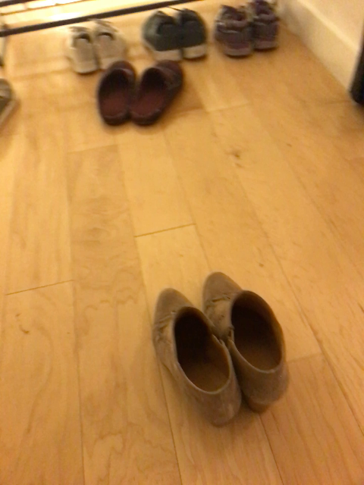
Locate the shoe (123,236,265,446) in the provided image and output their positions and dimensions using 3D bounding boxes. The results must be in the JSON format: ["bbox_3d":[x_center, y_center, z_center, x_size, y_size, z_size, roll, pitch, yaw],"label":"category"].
[{"bbox_3d":[0.008,0.130,0.571,0.110,0.109,0.251,-17,51,-9],"label":"shoe"}]

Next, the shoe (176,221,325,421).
[{"bbox_3d":[0.086,0.106,0.592,0.110,0.109,0.251,-16,51,-9],"label":"shoe"}]
